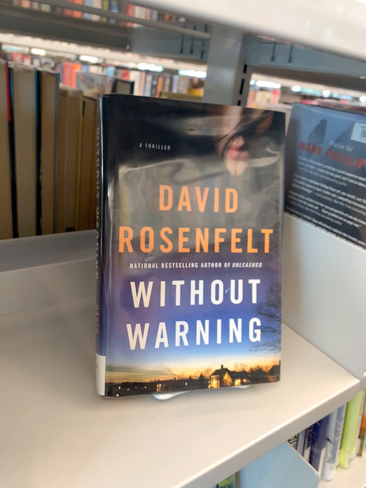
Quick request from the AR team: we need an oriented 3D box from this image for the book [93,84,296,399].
[{"bbox_3d":[0.009,0.001,0.317,0.157,0.230,0.035,1,3,-16],"label":"book"}]
